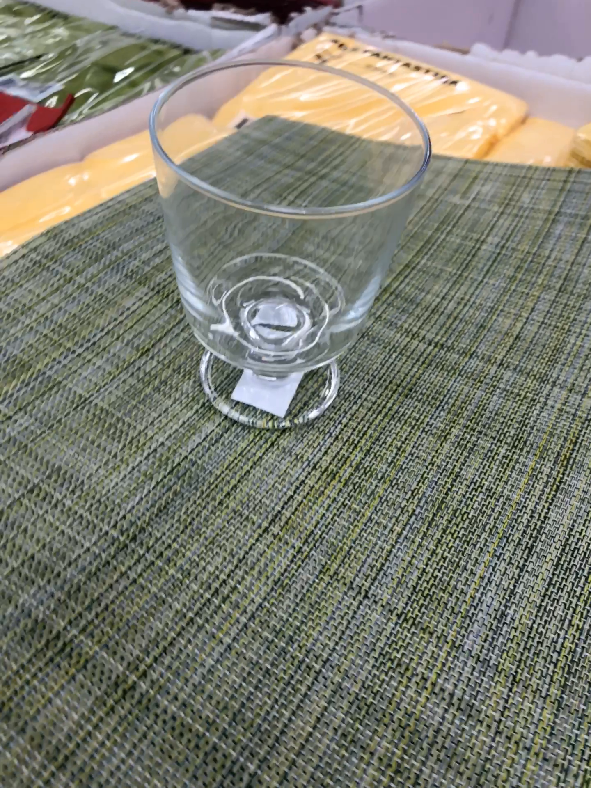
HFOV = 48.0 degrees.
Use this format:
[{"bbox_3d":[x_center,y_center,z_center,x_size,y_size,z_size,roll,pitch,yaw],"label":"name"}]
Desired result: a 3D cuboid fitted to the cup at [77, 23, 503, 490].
[{"bbox_3d":[-0.006,-0.048,0.241,0.090,0.110,0.090,3,53,-5],"label":"cup"}]
